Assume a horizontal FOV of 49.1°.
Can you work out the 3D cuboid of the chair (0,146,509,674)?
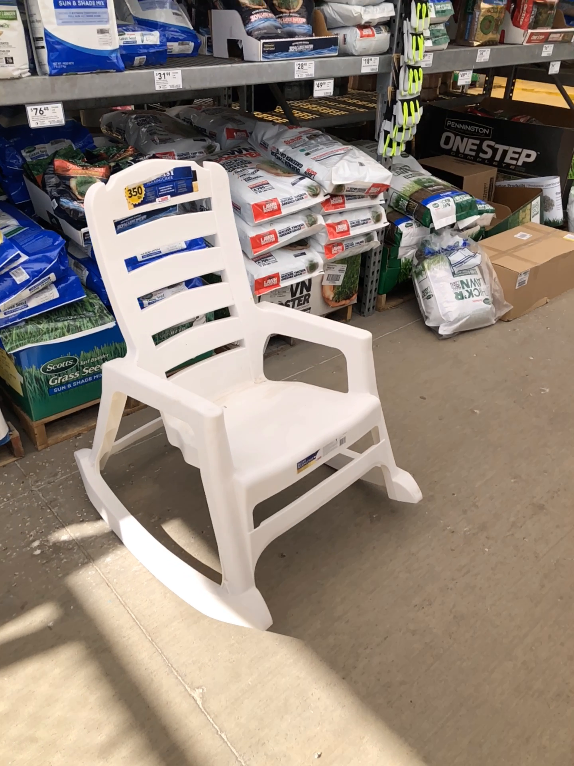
[{"bbox_3d":[-0.140,-0.069,1.791,1.033,0.927,0.847,27,38,36],"label":"chair"}]
